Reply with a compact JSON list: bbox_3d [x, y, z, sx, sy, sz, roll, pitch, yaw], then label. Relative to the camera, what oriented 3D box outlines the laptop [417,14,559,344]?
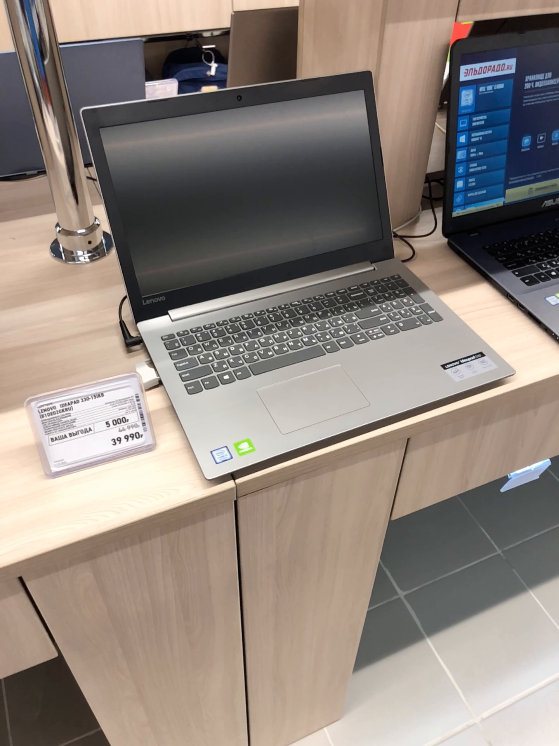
[{"bbox_3d":[0.473,-0.282,0.820,0.403,0.246,0.335,-16,46,-18],"label":"laptop"}]

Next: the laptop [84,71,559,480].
[{"bbox_3d":[0.026,-0.145,0.681,0.370,0.208,0.367,-17,46,-18],"label":"laptop"}]
